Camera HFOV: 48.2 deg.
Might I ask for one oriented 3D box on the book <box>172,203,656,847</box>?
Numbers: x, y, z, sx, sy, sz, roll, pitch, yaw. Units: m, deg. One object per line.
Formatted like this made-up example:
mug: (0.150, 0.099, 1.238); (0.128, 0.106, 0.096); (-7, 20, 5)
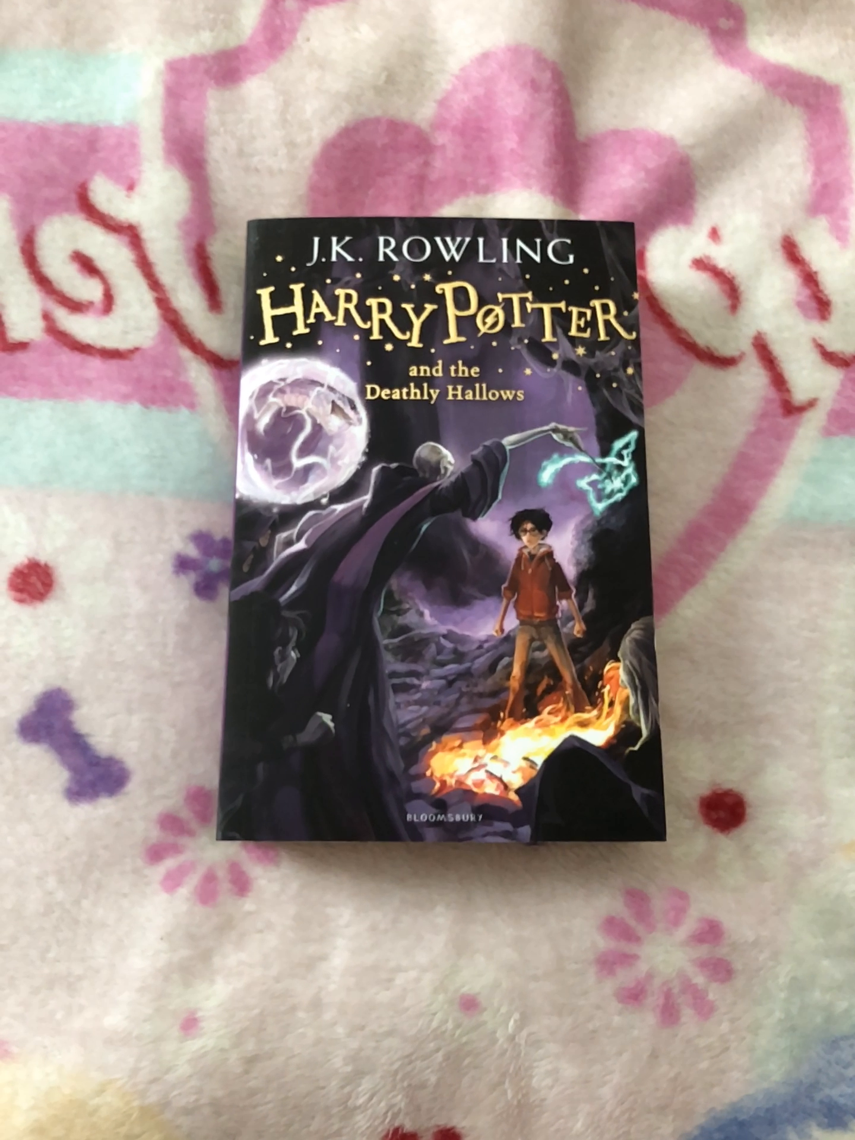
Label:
book: (-0.003, -0.013, 0.298); (0.126, 0.060, 0.187); (0, 77, 1)
